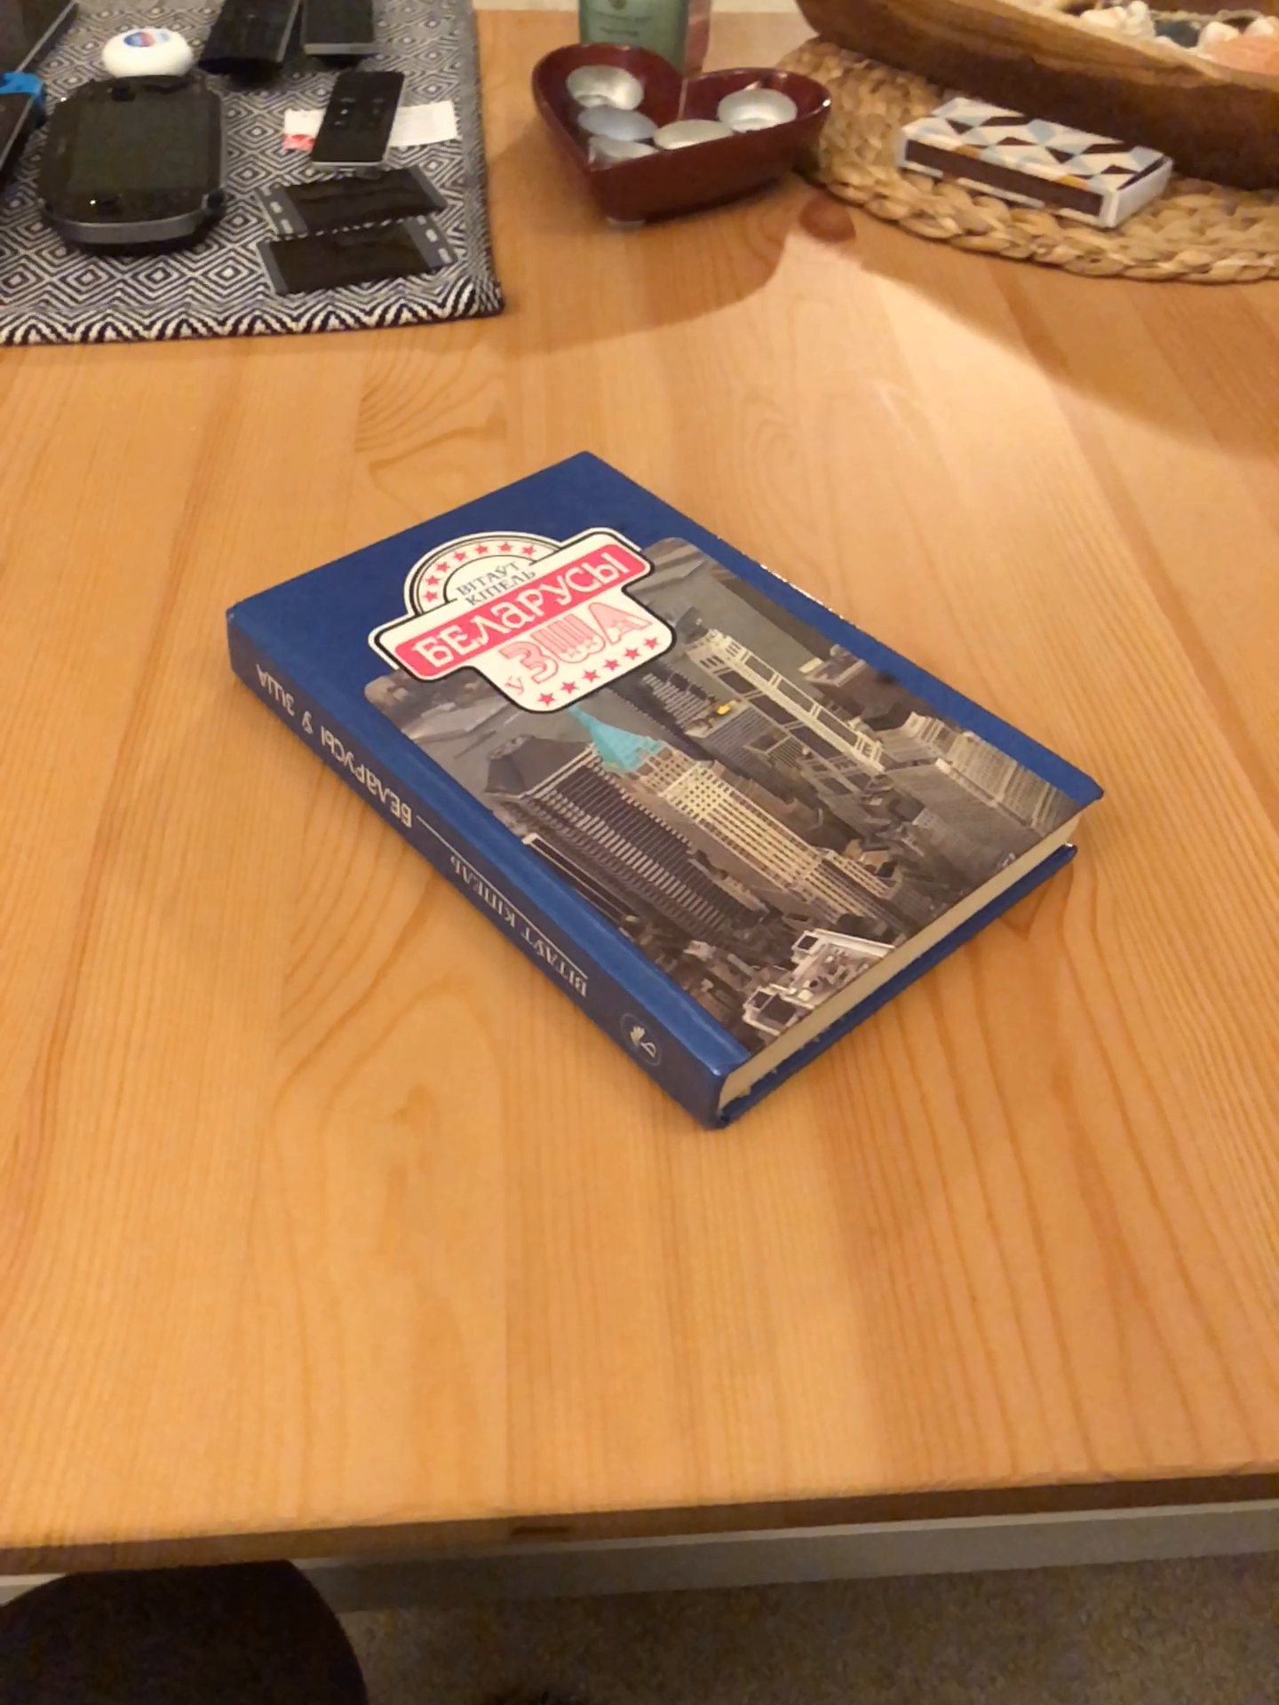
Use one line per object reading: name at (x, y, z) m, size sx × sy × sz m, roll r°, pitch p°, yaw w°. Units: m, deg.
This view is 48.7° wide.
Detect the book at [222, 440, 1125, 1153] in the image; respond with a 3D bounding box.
book at (0.002, -0.036, 0.416) m, size 0.147 × 0.030 × 0.224 m, roll -32°, pitch 56°, yaw -28°
